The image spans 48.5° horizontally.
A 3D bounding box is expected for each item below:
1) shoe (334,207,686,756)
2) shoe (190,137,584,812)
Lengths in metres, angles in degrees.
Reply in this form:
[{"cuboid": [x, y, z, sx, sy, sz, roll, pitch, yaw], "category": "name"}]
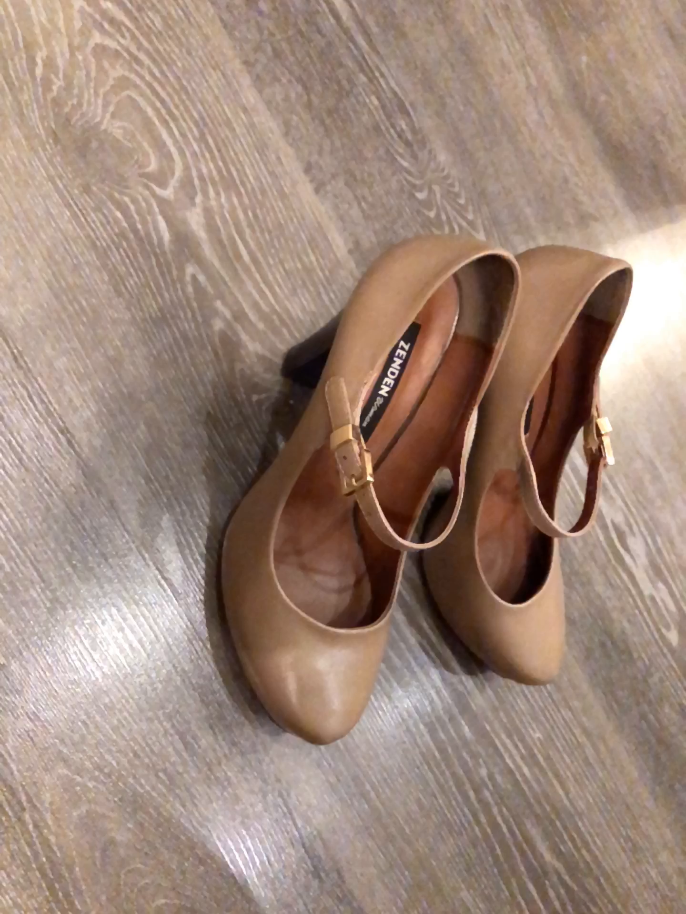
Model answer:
[{"cuboid": [0.102, 0.015, 0.378, 0.090, 0.159, 0.210, -16, 87, -31], "category": "shoe"}, {"cuboid": [0.010, 0.015, 0.327, 0.090, 0.149, 0.220, 9, 74, -27], "category": "shoe"}]
